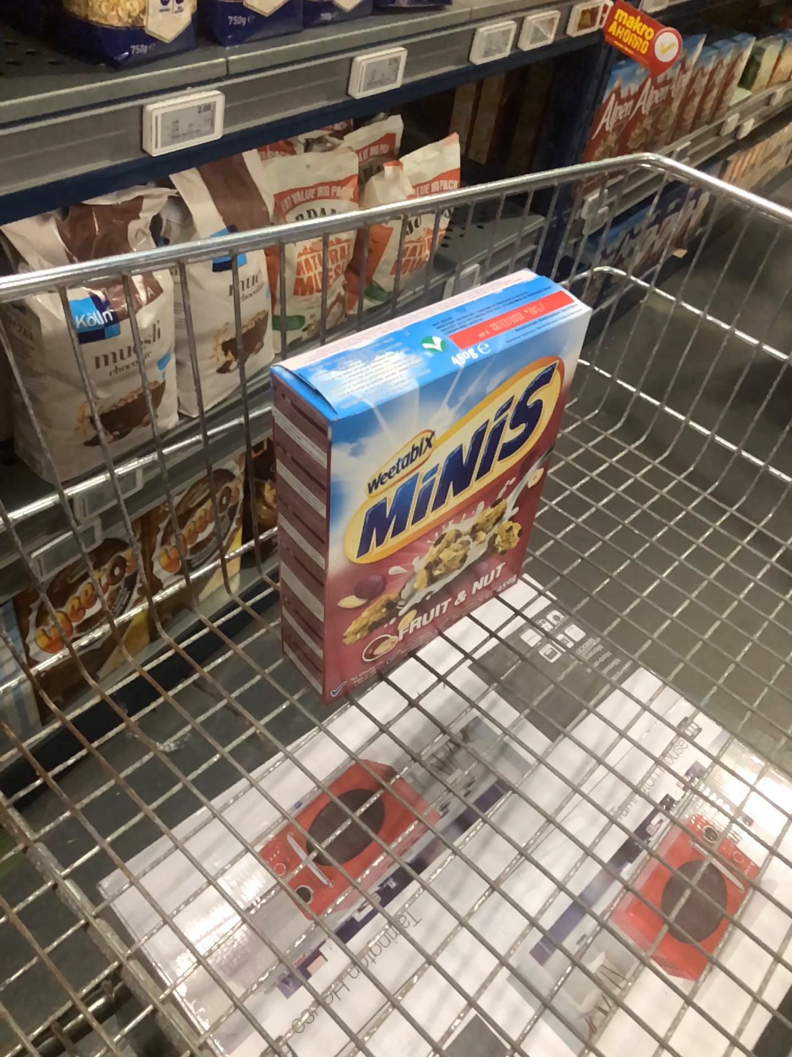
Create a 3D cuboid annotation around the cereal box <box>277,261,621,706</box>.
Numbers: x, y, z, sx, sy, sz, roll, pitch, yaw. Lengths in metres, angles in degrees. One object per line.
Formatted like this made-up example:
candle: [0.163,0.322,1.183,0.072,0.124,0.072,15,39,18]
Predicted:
cereal box: [0.028,-0.029,0.633,0.221,0.259,0.080,-29,56,-31]
